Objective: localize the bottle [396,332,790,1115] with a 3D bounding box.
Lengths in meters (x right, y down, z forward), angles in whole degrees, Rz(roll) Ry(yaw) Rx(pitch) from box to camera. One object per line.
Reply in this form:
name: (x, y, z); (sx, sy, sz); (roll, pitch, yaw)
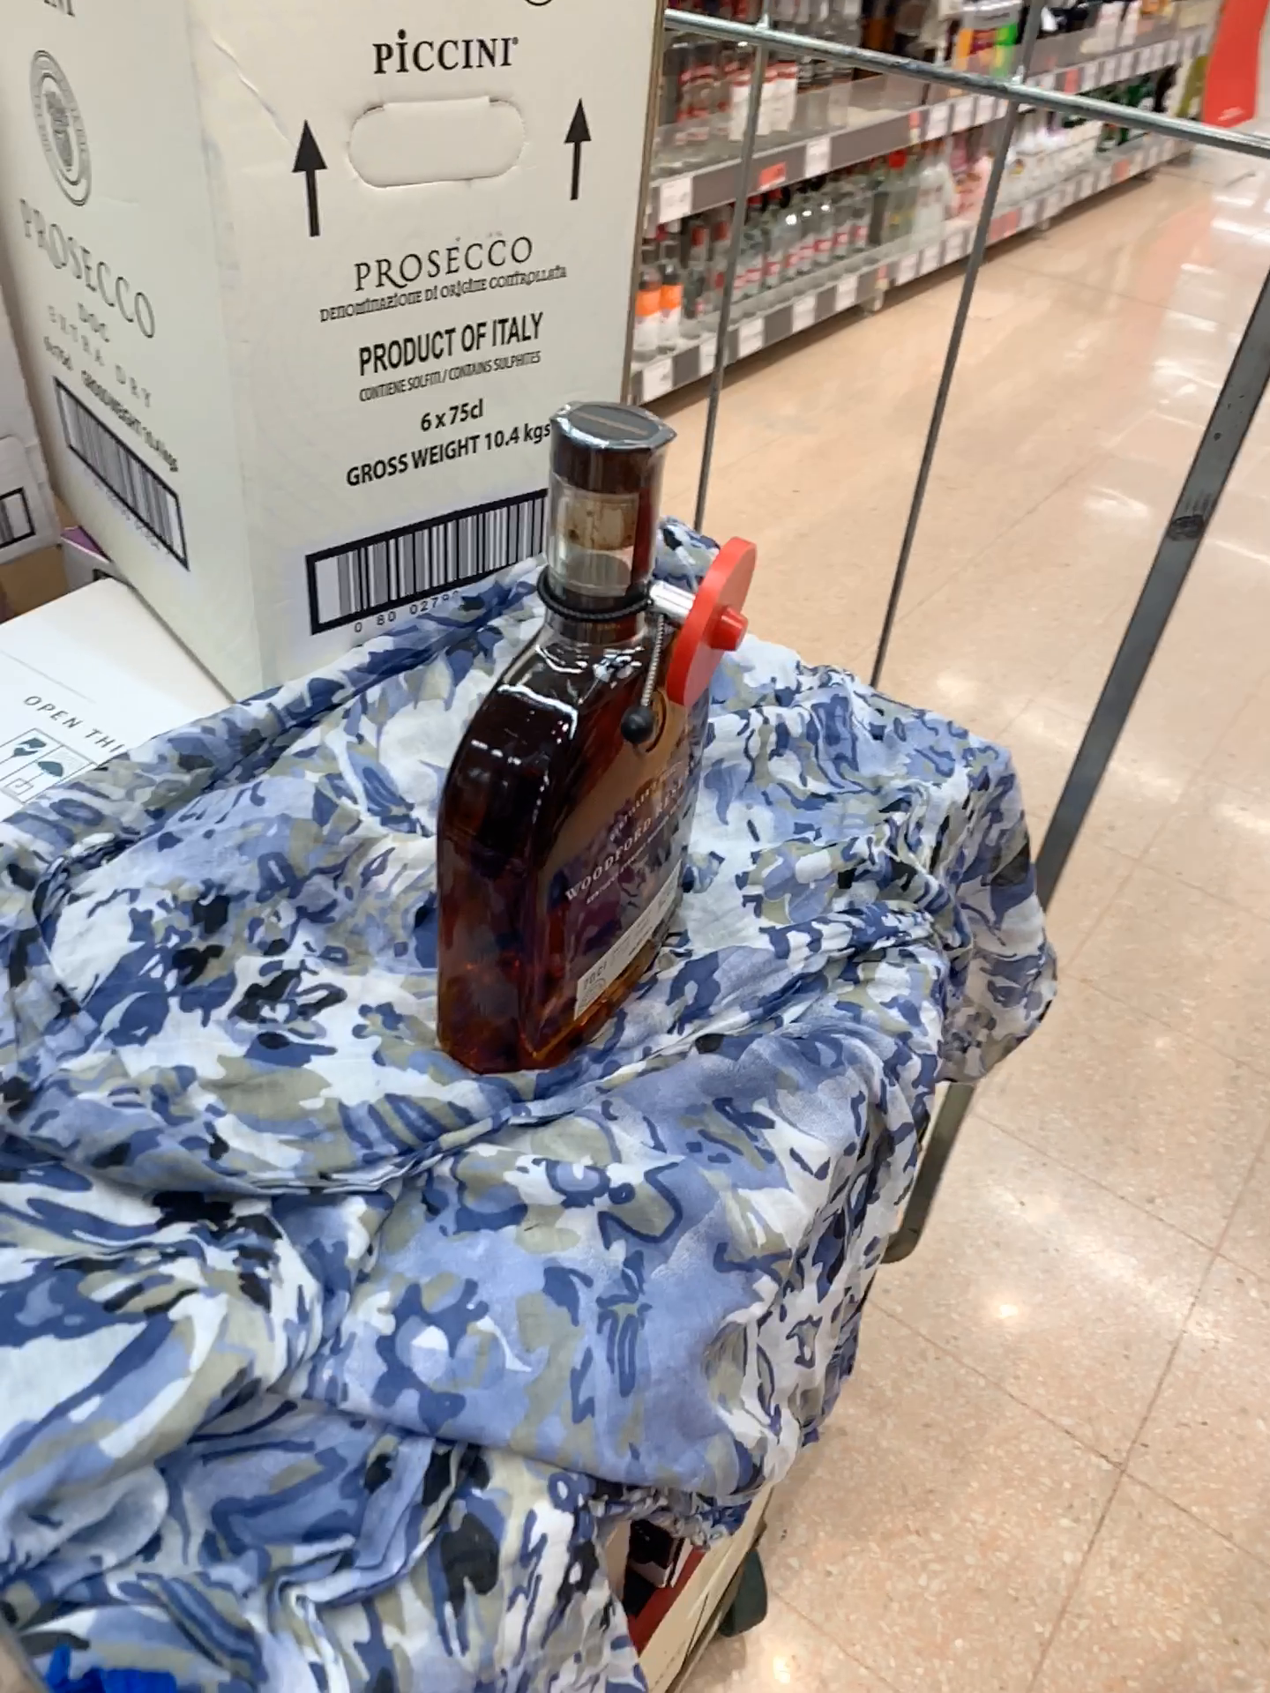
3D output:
bottle: (-0.013, -0.037, 0.439); (0.051, 0.222, 0.134); (21, 42, 20)
